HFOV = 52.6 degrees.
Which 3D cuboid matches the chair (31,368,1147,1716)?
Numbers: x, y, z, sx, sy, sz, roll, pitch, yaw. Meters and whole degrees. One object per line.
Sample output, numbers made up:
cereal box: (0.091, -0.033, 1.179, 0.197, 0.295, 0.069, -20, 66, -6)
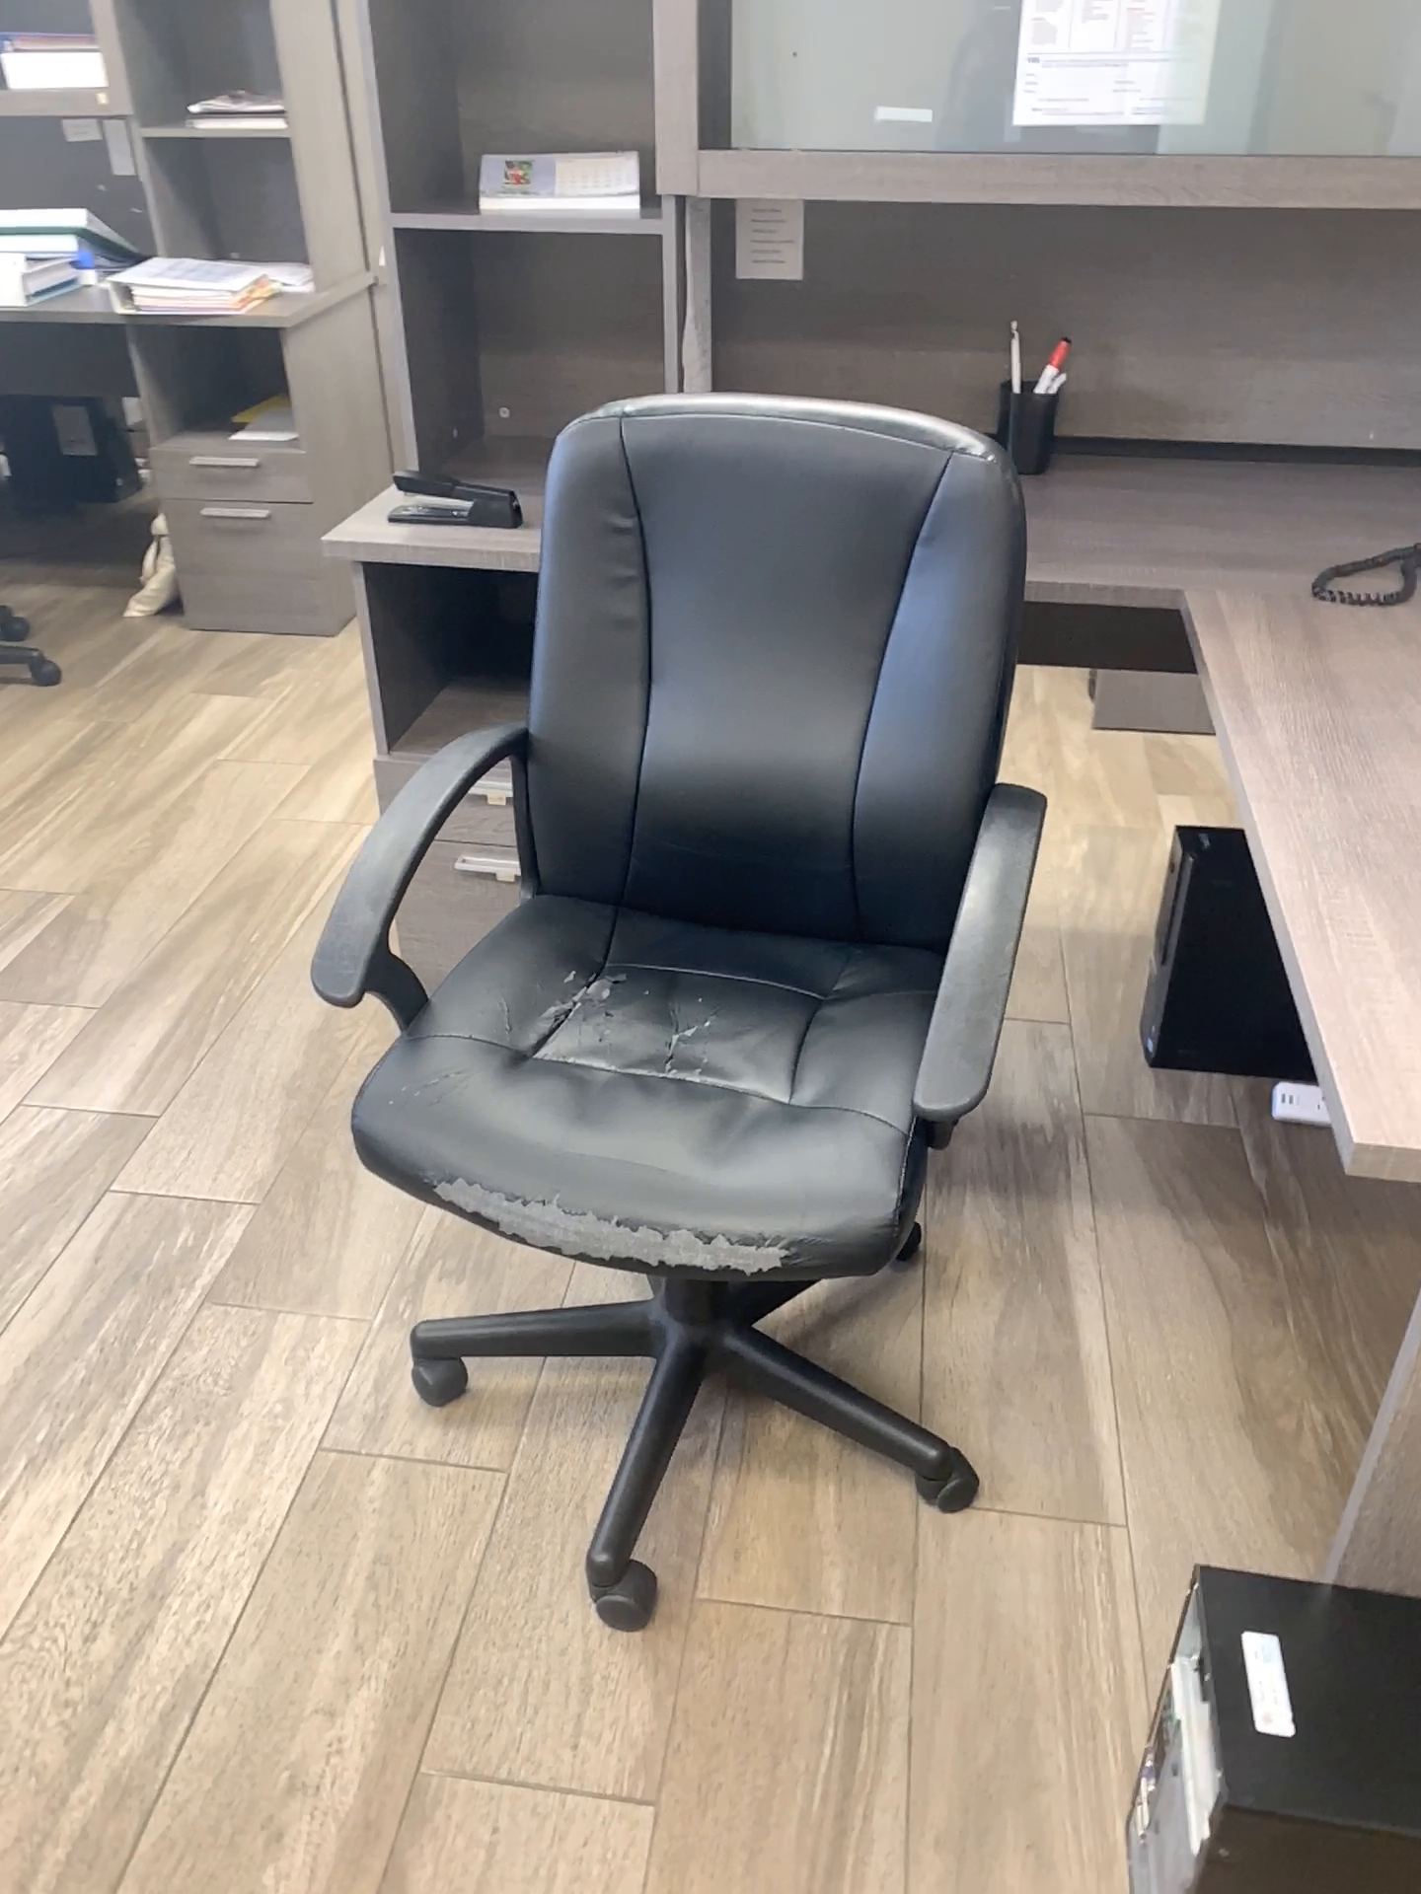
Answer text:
chair: (-0.013, 0.049, 1.312, 0.650, 0.945, 0.643, 8, 33, 12)
